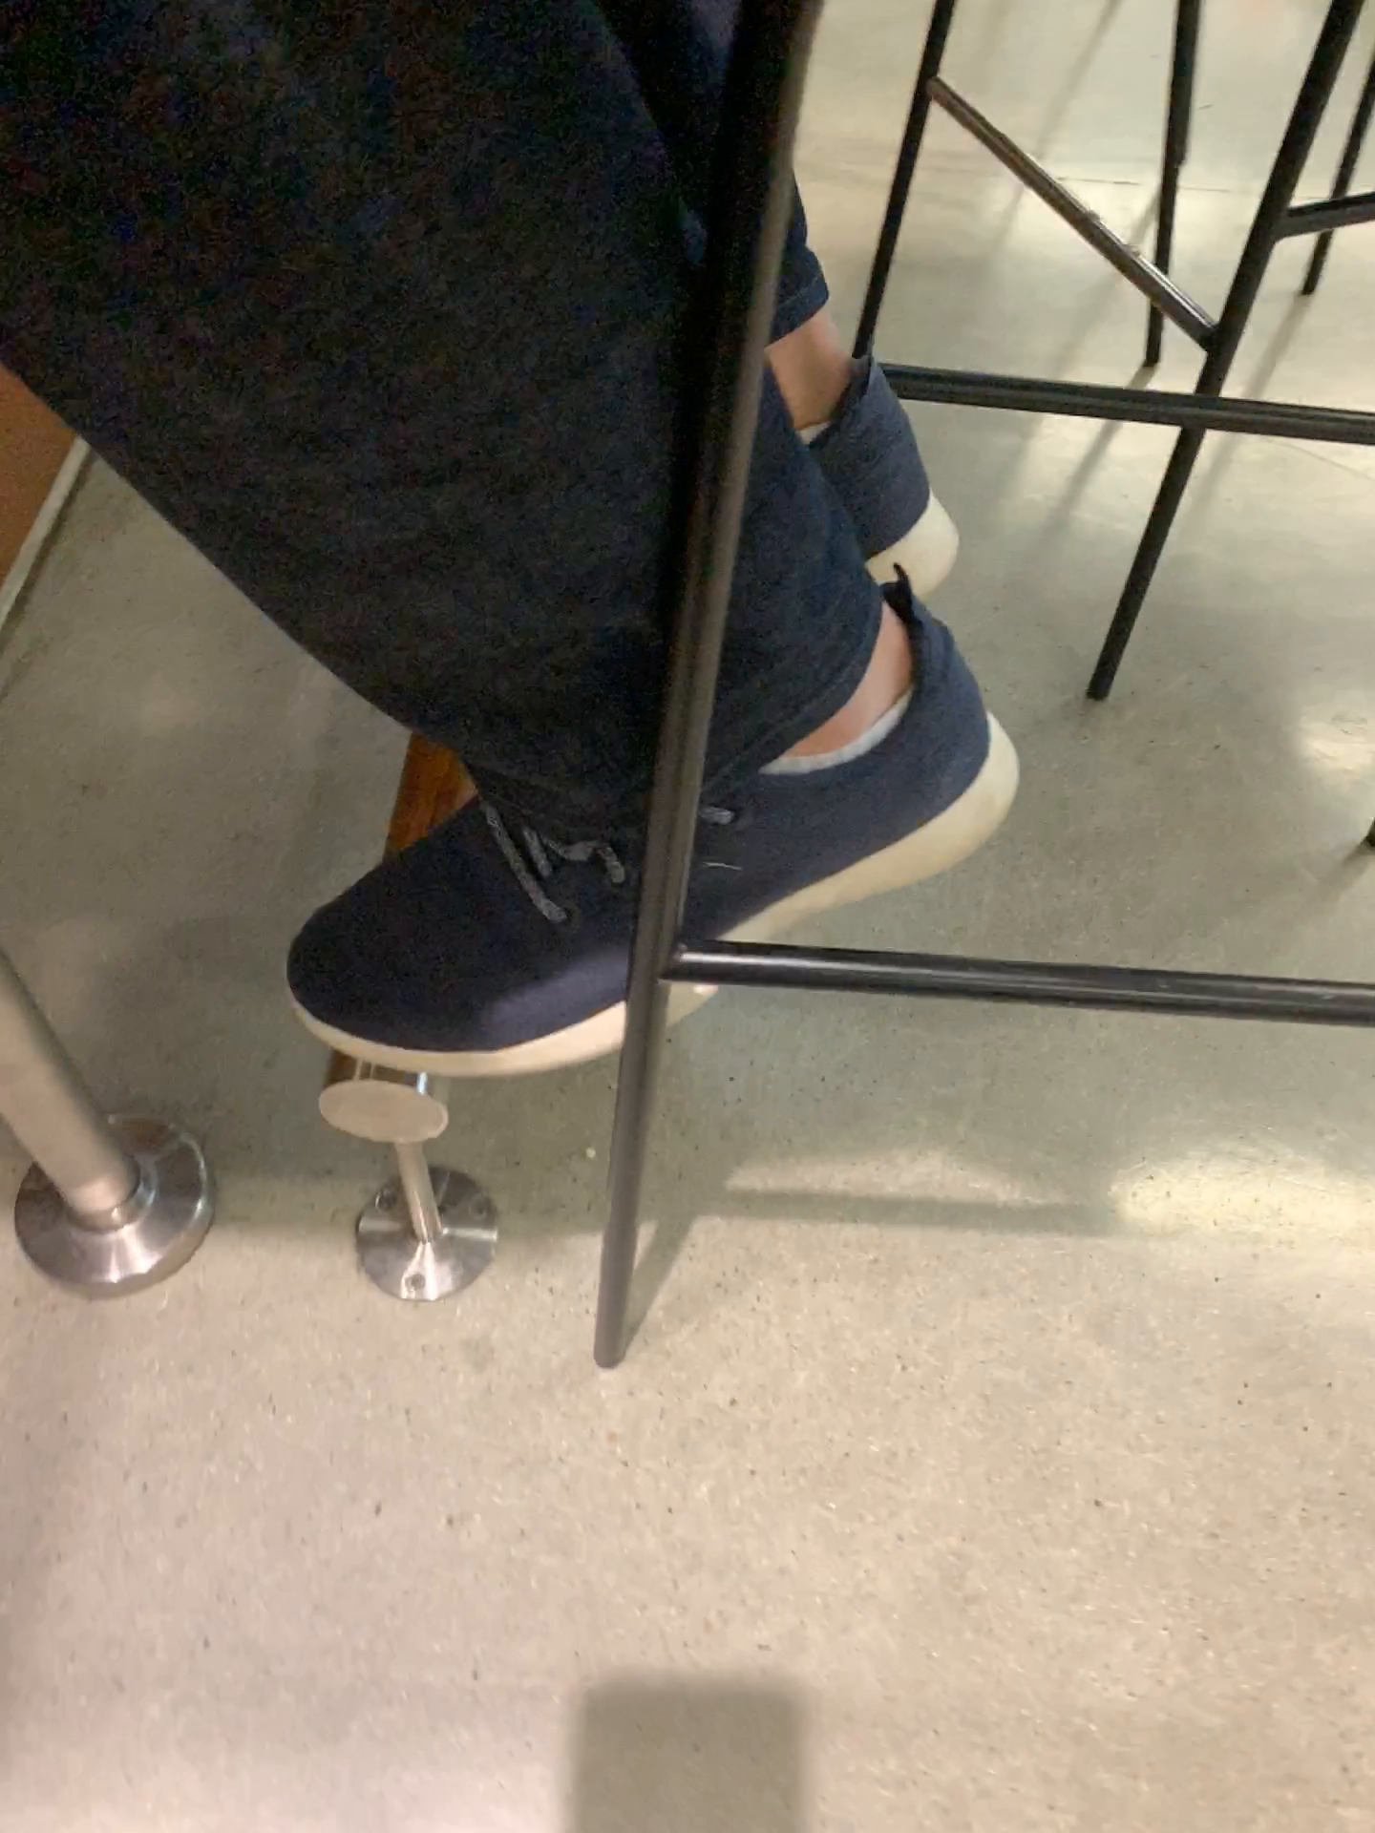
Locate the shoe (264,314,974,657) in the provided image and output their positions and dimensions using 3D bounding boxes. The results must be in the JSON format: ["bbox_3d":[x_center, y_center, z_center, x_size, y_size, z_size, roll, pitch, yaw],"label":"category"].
[{"bbox_3d":[-0.026,-0.210,0.670,0.300,0.093,0.129,7,48,18],"label":"shoe"}]

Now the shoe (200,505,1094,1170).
[{"bbox_3d":[-0.015,-0.032,0.534,0.299,0.093,0.124,-21,53,-3],"label":"shoe"}]
